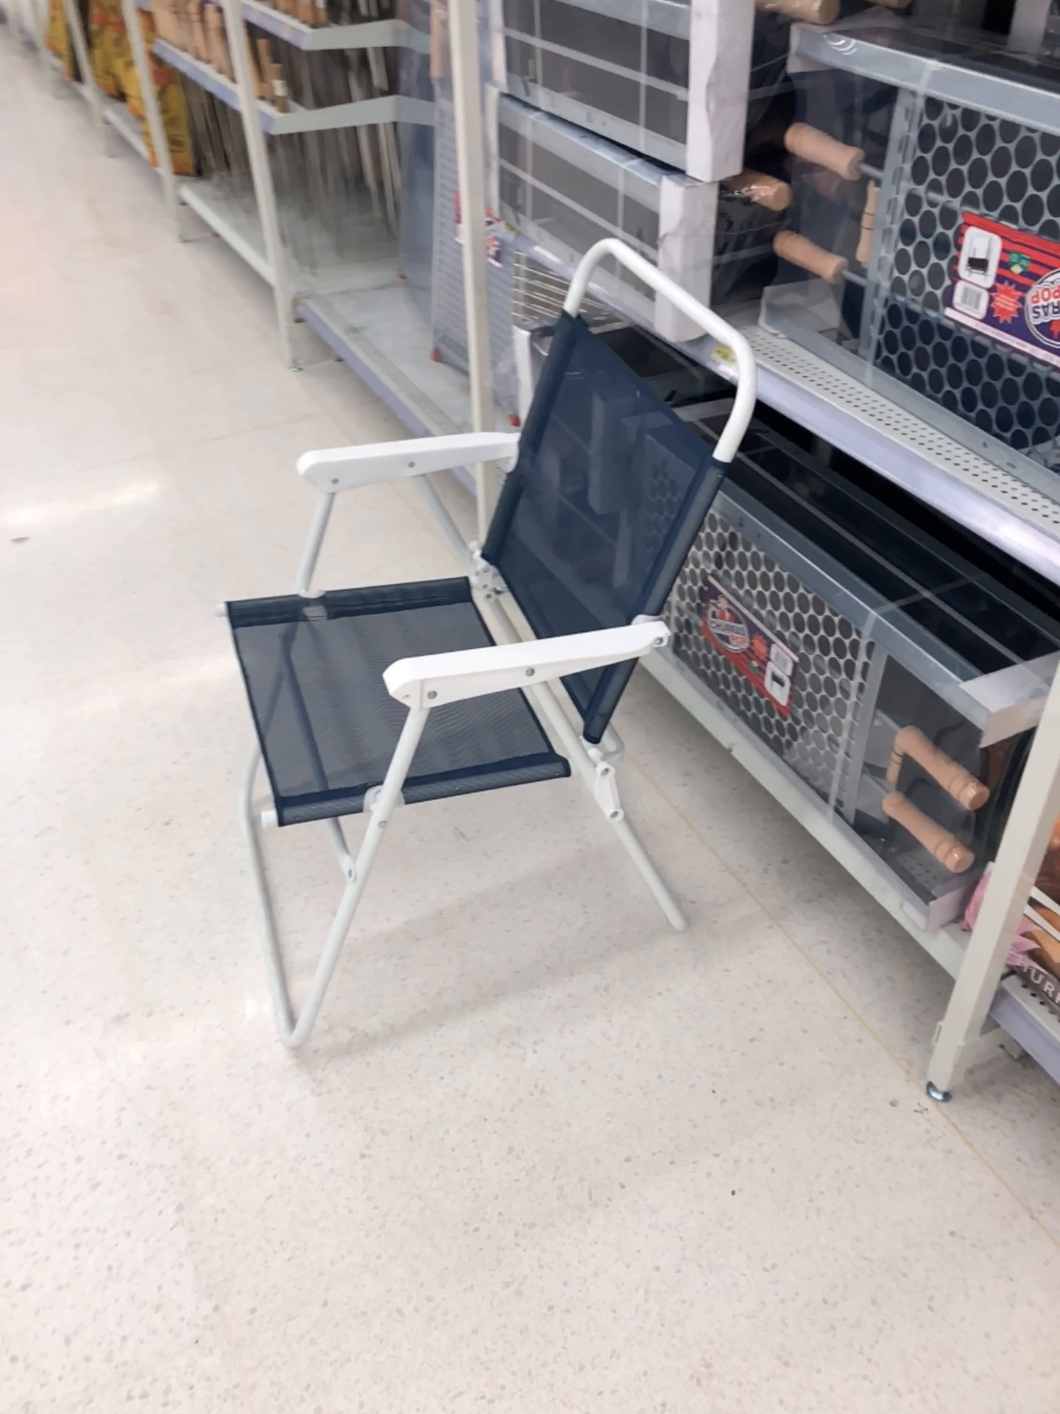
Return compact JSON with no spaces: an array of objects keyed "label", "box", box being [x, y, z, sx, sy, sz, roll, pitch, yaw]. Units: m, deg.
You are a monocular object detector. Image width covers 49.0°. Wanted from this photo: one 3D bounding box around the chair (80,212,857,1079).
[{"label":"chair","box":[-0.092,-0.090,1.385,0.650,0.734,0.544,-13,40,-13]}]
